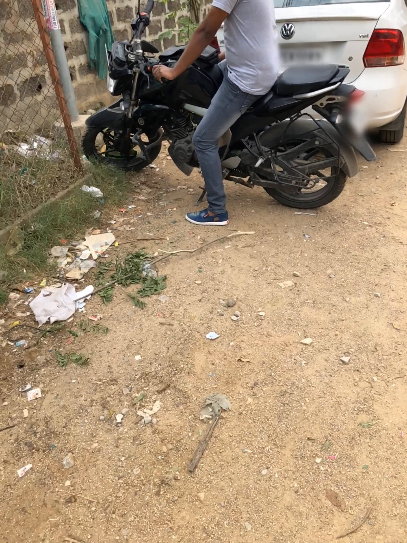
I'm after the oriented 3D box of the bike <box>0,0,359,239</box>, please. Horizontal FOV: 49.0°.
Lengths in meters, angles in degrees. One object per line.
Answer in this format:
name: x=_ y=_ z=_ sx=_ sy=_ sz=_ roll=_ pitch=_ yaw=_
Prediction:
bike: x=-0.091 y=-0.919 z=2.330 sx=1.617 sy=1.095 sz=0.530 roll=9 pitch=35 yaw=13
